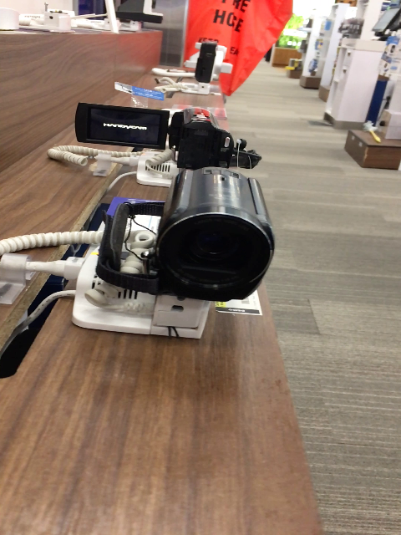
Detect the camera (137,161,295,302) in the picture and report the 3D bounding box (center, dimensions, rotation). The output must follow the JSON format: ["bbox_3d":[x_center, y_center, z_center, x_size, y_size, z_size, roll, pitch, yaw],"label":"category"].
[{"bbox_3d":[0.009,-0.025,0.295,0.069,0.043,0.101,6,26,1],"label":"camera"}]
